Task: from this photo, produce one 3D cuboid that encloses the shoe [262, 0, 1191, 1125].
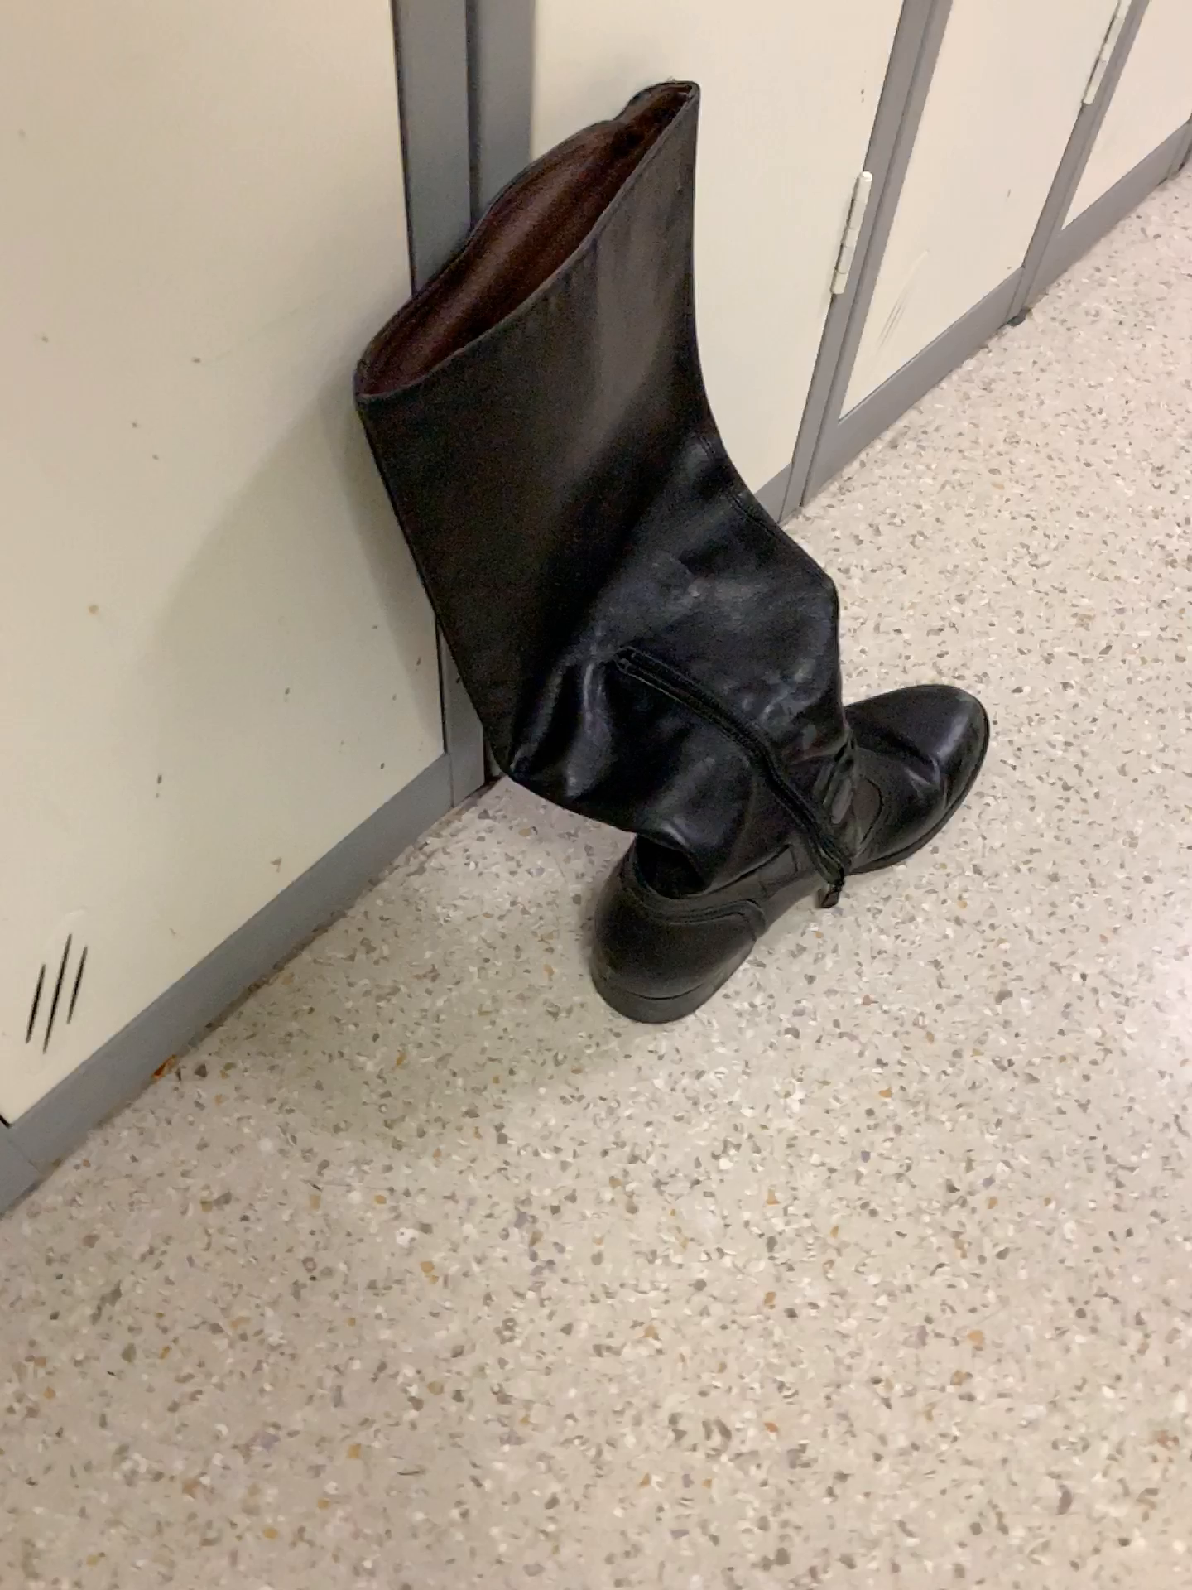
[{"bbox_3d":[0.078,-0.091,0.487,0.315,0.331,0.168,-35,62,-25],"label":"shoe"}]
